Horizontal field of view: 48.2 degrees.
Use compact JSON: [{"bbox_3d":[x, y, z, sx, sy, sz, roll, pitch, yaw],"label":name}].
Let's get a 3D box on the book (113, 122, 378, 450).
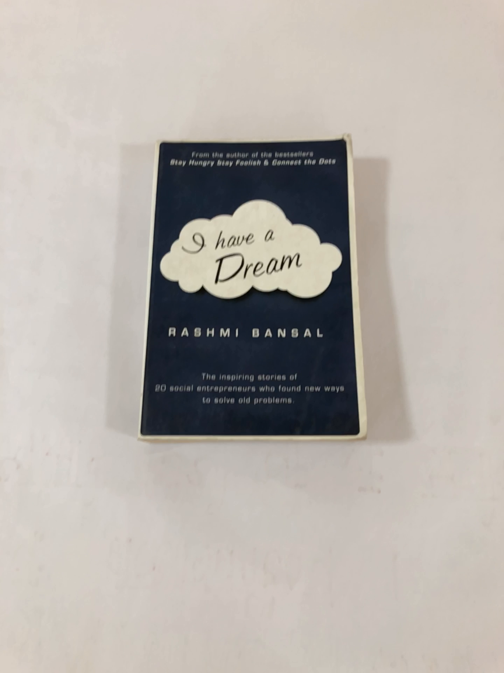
[{"bbox_3d":[-0.002,-0.035,0.342,0.140,0.030,0.200,1,72,0],"label":"book"}]
